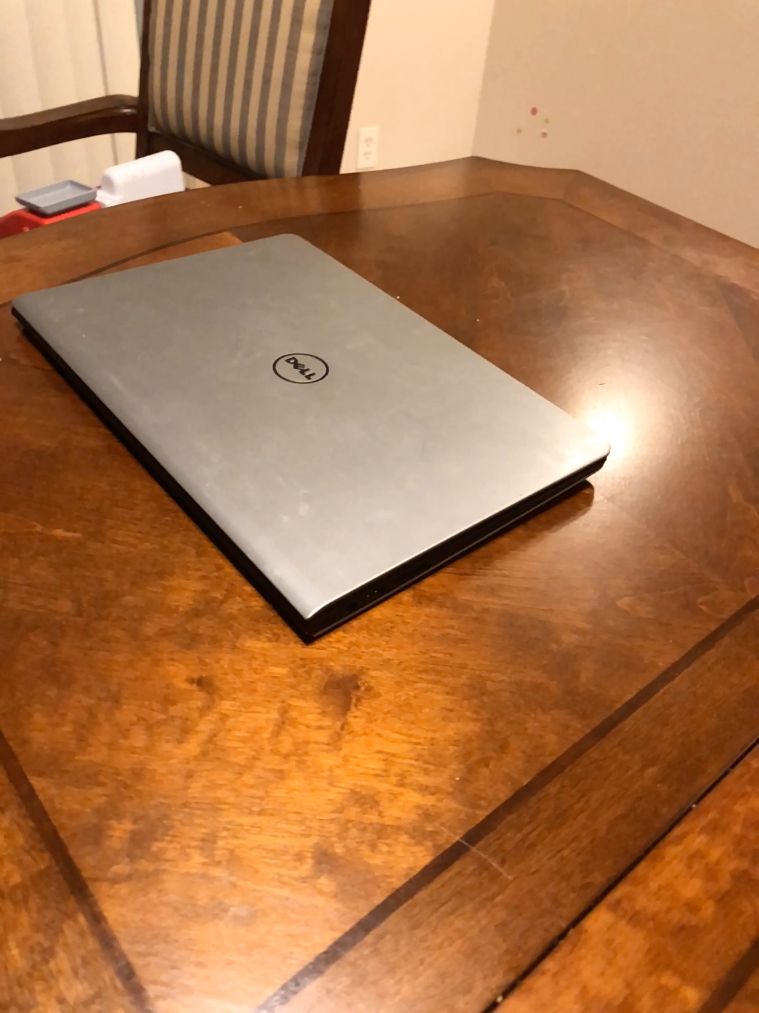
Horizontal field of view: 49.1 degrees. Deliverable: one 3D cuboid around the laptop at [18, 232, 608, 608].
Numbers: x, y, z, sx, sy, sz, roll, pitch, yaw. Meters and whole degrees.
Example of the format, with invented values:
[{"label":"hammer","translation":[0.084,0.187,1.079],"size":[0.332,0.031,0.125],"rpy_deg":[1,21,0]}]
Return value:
[{"label":"laptop","translation":[-0.059,-0.097,0.578],"size":[0.244,0.002,0.365],"rpy_deg":[-25,51,-32]}]
